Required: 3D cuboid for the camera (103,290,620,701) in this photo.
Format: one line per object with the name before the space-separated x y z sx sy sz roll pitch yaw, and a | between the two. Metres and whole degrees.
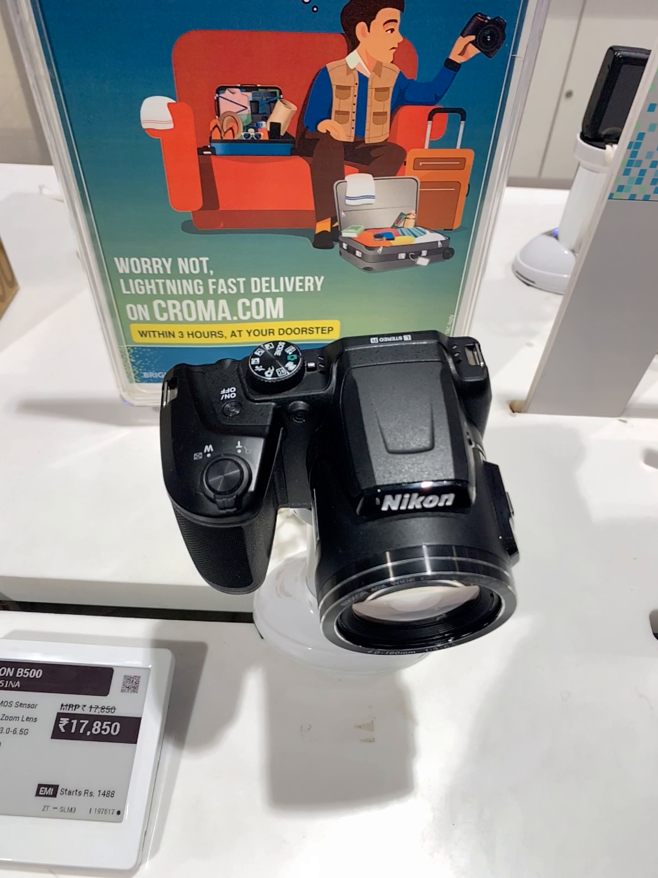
camera | 0.003 0.016 0.215 0.120 0.080 0.090 -4 49 -6
